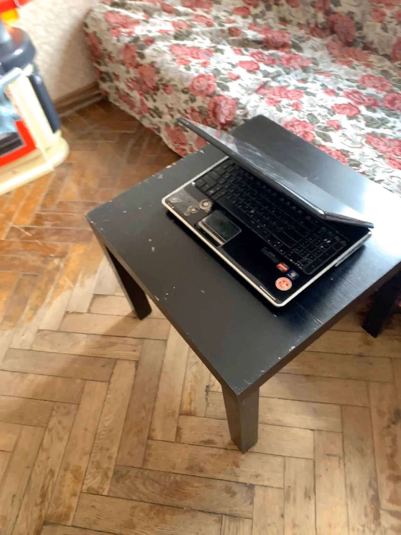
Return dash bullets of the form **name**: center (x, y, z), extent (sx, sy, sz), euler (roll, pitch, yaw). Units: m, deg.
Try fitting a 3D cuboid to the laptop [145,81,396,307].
- **laptop**: center (0.113, -0.159, 0.795), extent (0.251, 0.177, 0.366), euler (-35, 57, -17)
